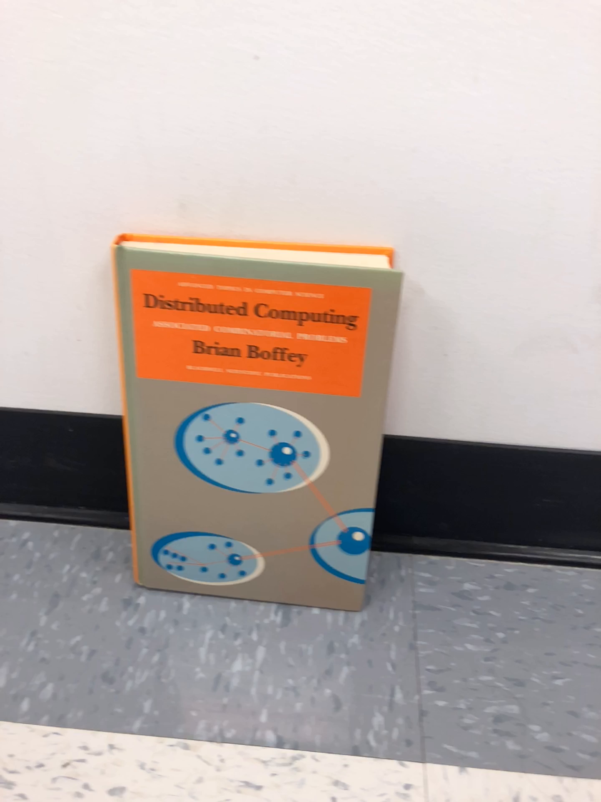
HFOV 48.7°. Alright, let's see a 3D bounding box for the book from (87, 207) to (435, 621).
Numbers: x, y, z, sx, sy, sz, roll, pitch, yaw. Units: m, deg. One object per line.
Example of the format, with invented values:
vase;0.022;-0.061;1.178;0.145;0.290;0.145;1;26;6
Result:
book;-0.023;0.016;0.398;0.170;0.239;0.050;5;28;5
